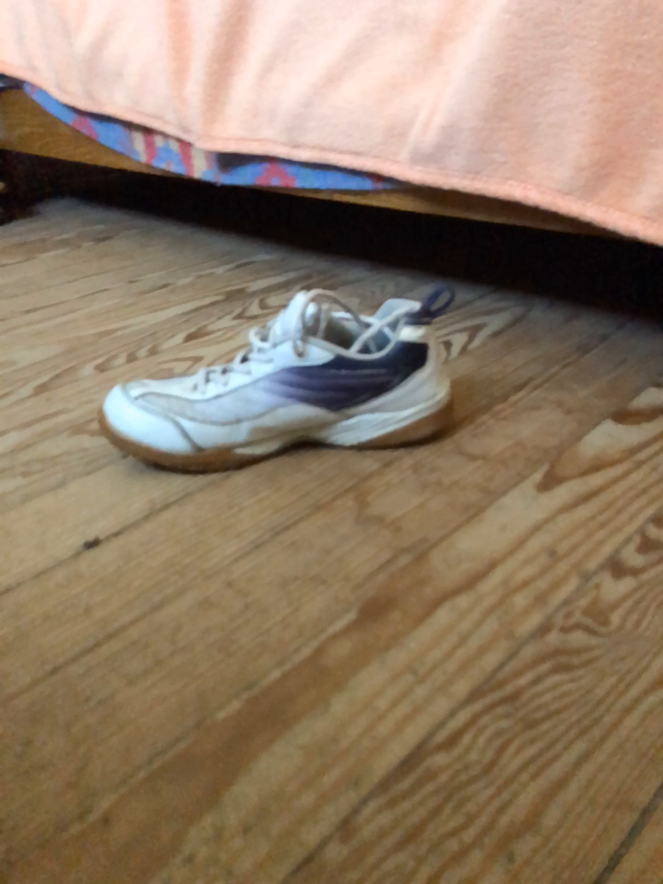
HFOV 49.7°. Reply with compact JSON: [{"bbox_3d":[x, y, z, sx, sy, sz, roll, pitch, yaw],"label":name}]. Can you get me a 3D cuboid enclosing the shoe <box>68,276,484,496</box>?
[{"bbox_3d":[-0.033,-0.045,0.519,0.260,0.099,0.111,-5,28,-2],"label":"shoe"}]
